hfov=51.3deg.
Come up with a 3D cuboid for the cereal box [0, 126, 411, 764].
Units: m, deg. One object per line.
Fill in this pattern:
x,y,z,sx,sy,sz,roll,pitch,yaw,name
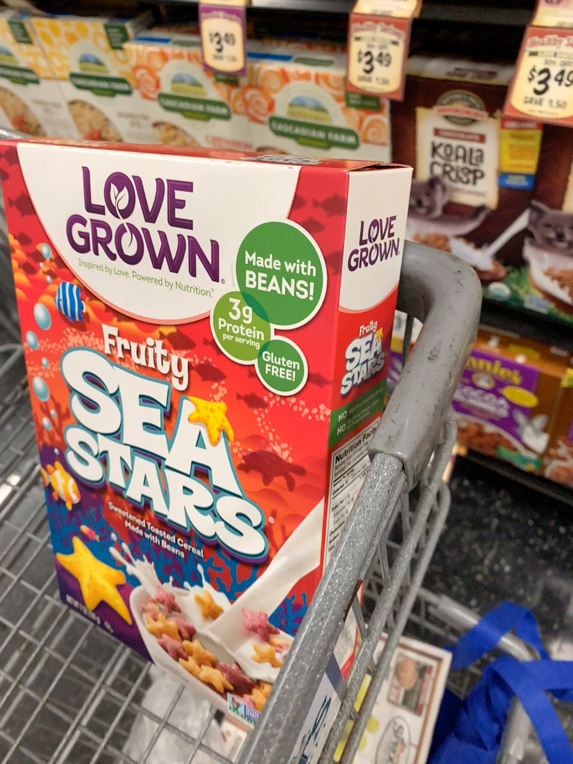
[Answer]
-0.052,0.025,0.269,0.180,0.249,0.050,17,29,30,cereal box
